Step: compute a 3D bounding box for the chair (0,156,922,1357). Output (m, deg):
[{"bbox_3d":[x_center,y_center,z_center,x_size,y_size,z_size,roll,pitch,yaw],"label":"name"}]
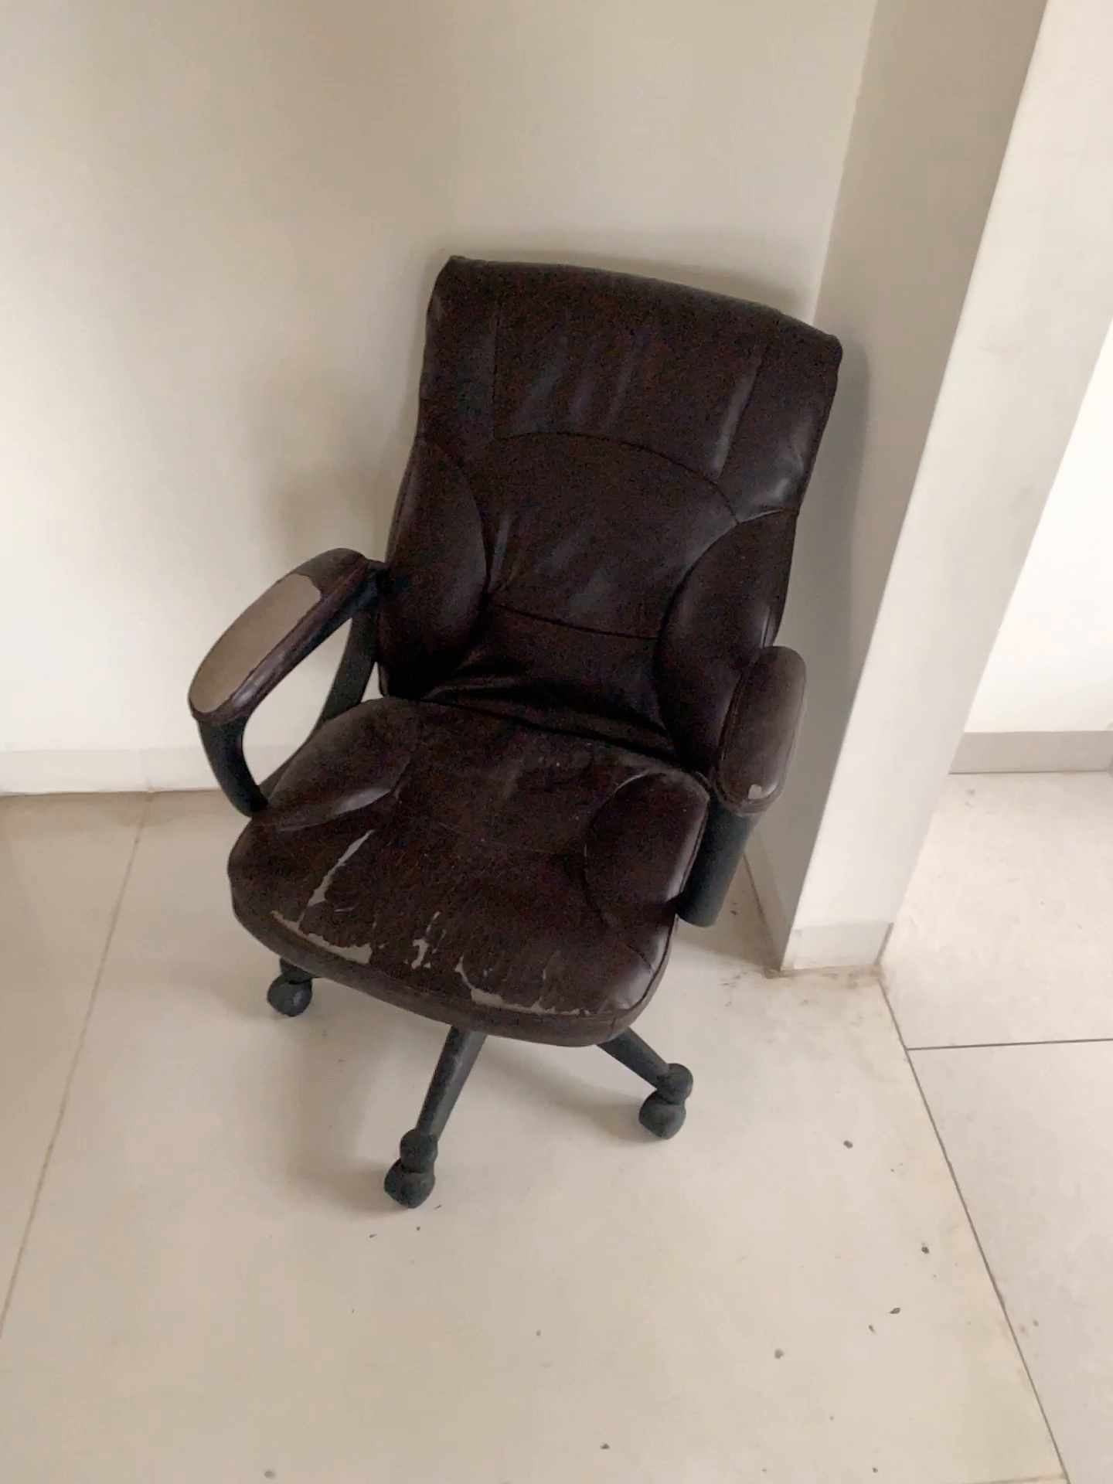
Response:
[{"bbox_3d":[-0.087,-0.011,1.317,0.700,0.996,0.793,14,41,12],"label":"chair"}]
